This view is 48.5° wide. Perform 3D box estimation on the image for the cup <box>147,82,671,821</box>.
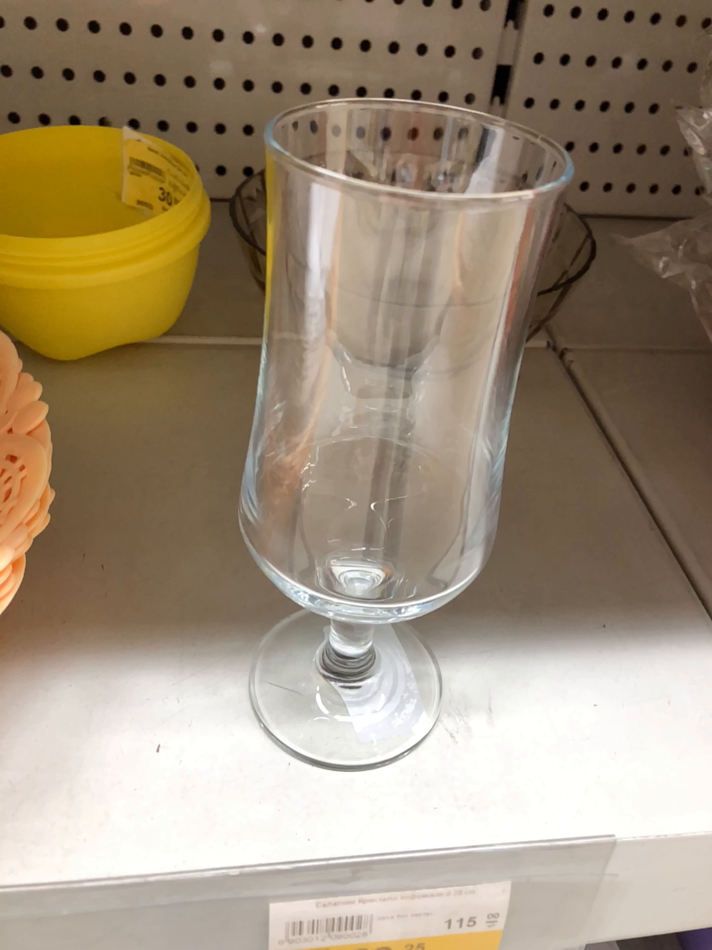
[{"bbox_3d":[0.004,-0.001,0.223,0.079,0.177,0.079,4,39,-3],"label":"cup"}]
